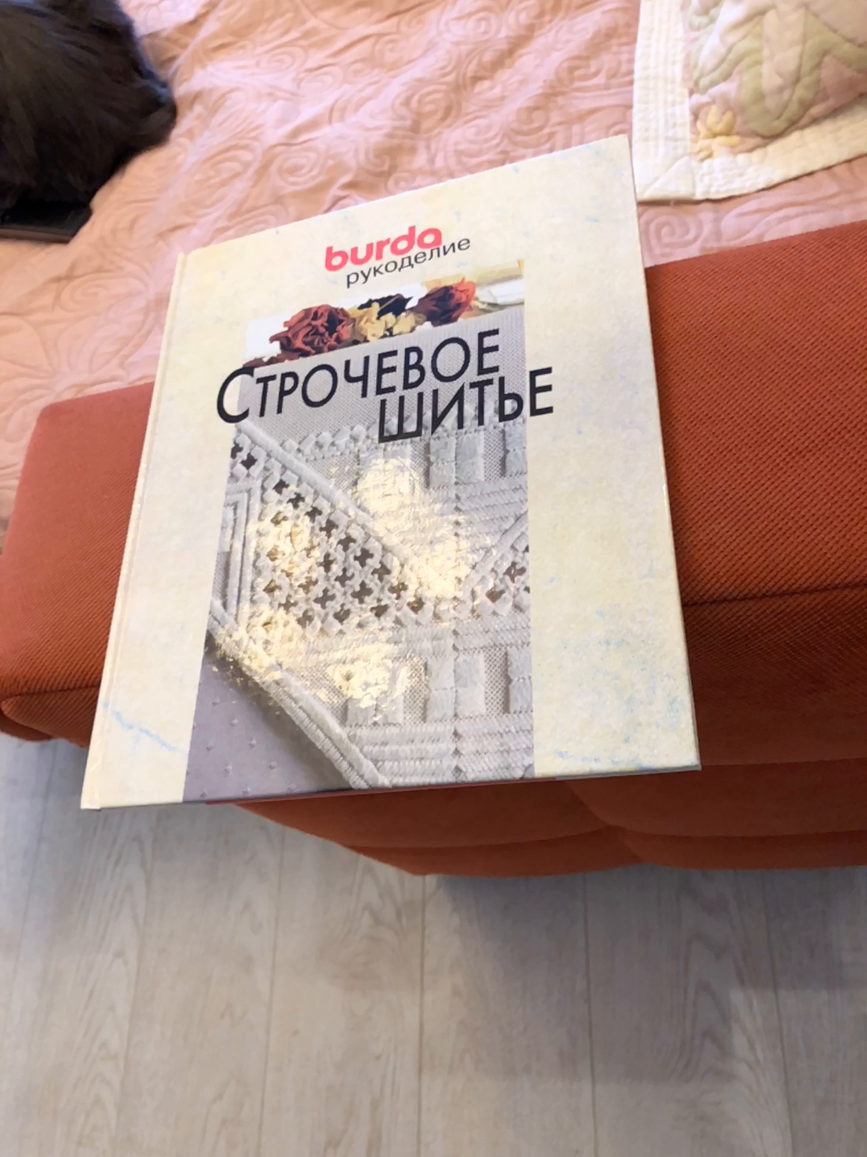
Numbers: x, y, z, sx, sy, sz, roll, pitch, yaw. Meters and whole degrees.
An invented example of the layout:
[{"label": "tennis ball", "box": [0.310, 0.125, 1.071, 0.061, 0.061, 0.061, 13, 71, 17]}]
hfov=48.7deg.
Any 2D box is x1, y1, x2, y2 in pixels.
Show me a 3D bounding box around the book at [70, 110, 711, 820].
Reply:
[{"label": "book", "box": [-0.021, -0.047, 0.362, 0.215, 0.020, 0.259, -8, 64, 18]}]
